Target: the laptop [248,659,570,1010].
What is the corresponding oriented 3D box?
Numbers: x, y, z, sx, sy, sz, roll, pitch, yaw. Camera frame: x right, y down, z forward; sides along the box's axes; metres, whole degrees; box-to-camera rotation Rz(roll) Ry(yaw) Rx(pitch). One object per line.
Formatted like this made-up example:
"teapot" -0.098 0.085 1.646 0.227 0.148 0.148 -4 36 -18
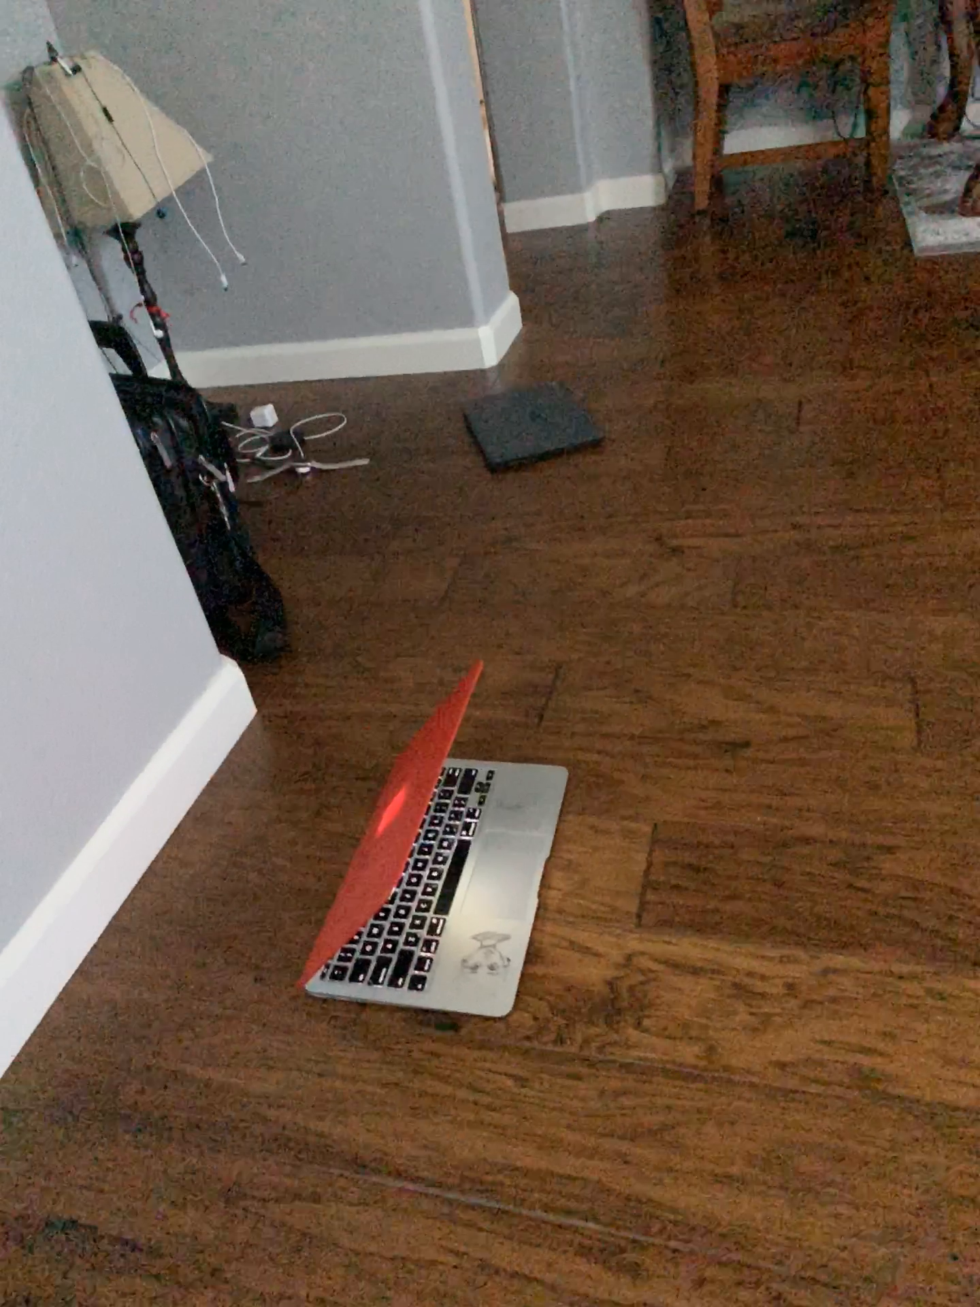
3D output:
"laptop" -0.054 0.149 0.929 0.197 0.139 0.303 0 35 15
